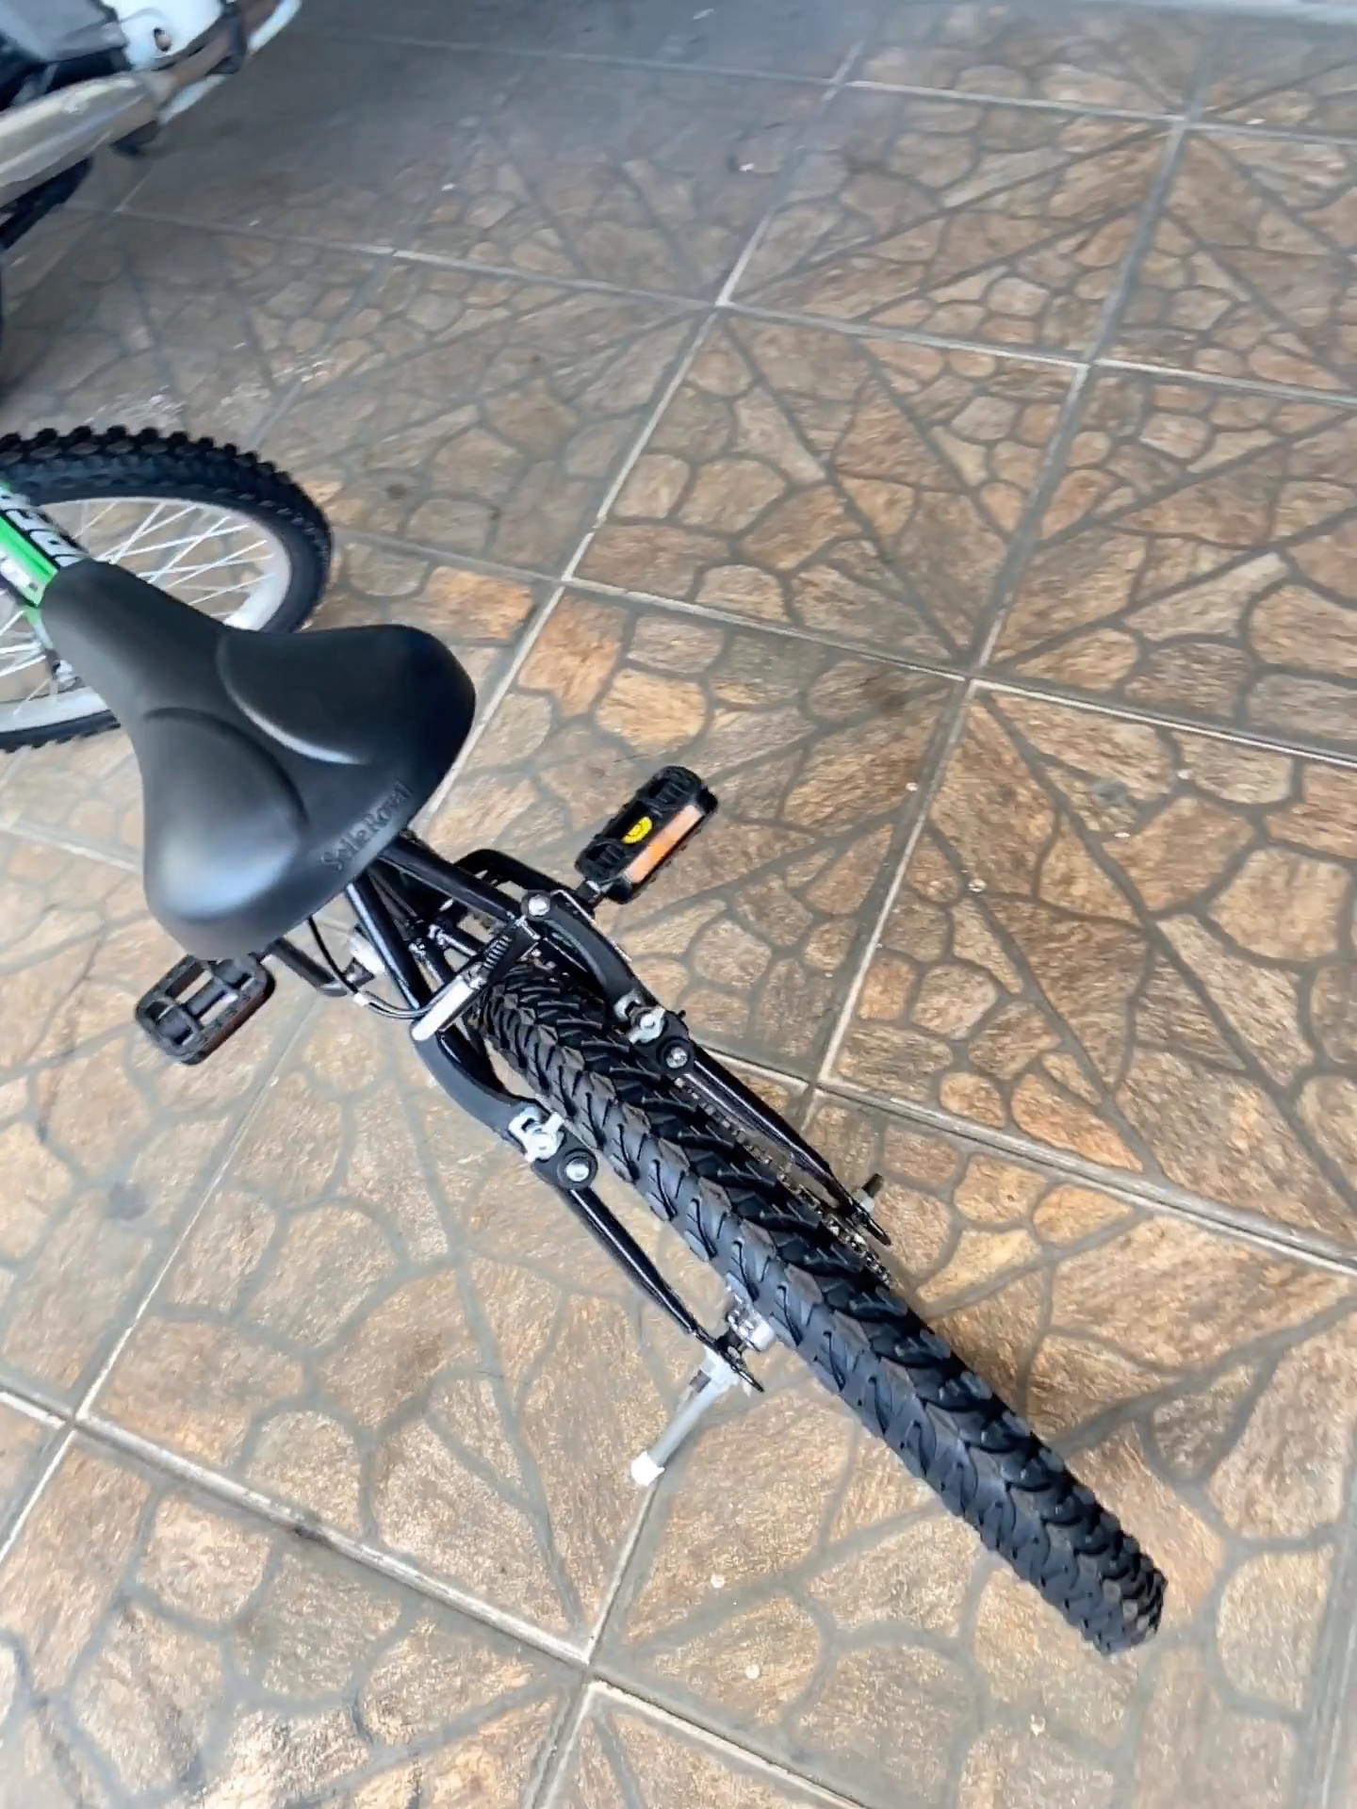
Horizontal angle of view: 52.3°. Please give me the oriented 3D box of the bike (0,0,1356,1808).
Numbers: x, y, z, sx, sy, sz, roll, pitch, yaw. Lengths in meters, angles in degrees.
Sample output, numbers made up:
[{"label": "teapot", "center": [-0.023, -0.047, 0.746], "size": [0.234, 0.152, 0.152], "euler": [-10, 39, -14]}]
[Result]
[{"label": "bike", "center": [-0.319, 0.020, 0.792], "size": [1.272, 0.936, 0.600], "euler": [29, 66, 26]}]
